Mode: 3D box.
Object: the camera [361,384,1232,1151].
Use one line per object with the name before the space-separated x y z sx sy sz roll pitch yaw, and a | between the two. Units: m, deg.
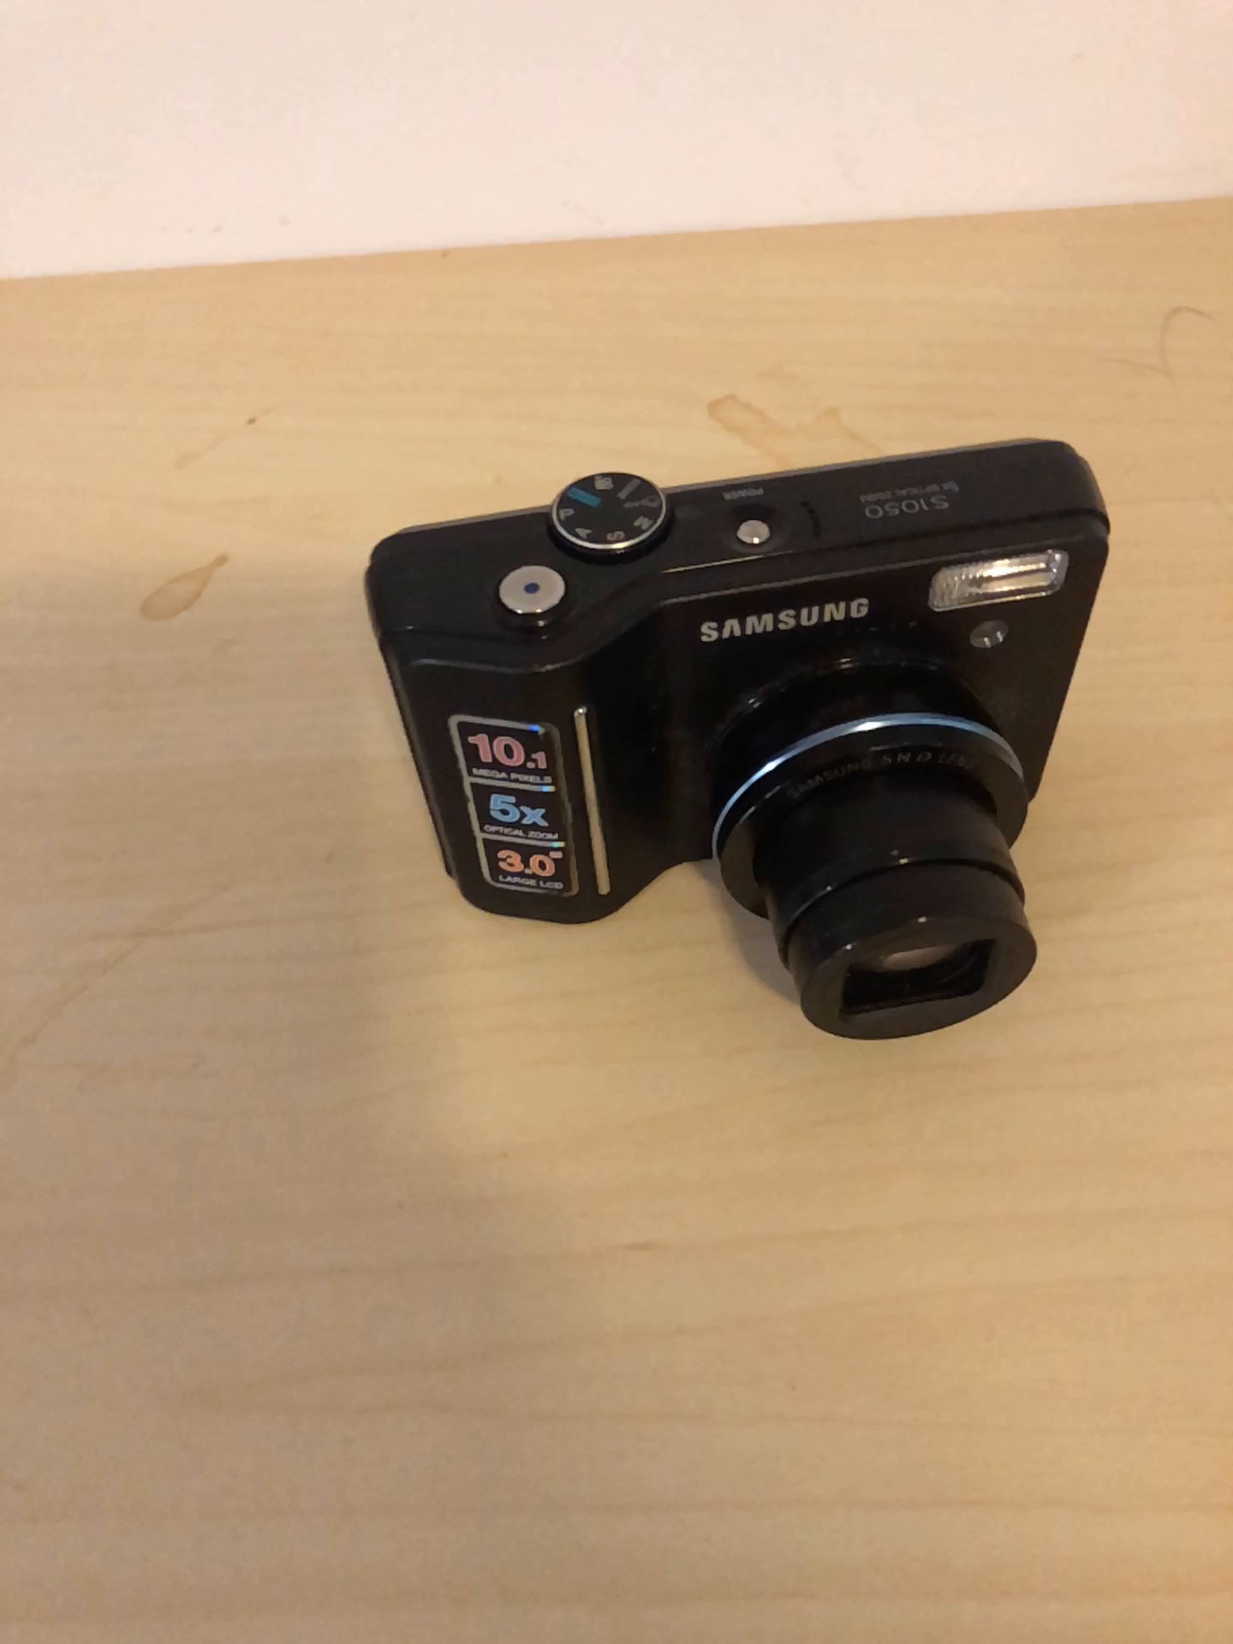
camera | 0.025 -0.006 0.202 0.110 0.070 0.070 -8 55 -1
